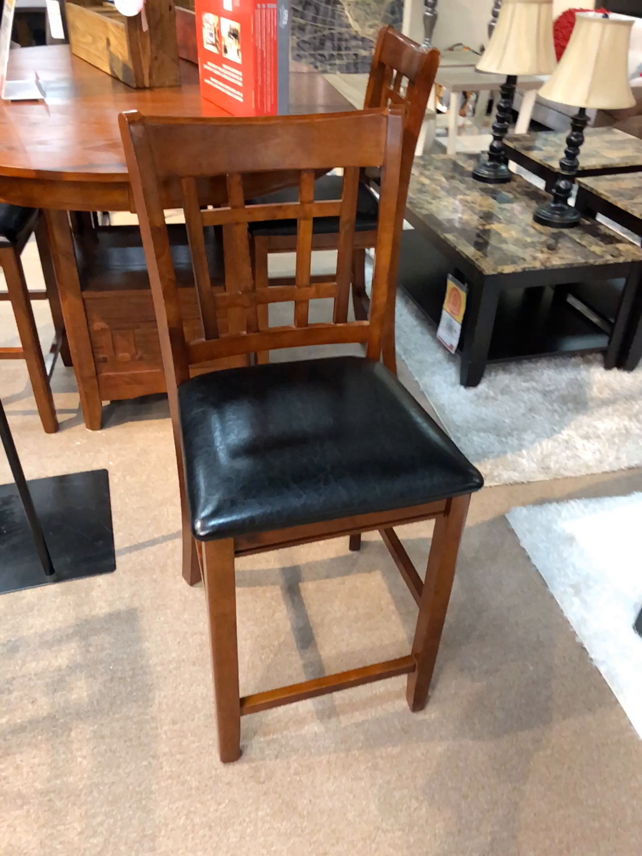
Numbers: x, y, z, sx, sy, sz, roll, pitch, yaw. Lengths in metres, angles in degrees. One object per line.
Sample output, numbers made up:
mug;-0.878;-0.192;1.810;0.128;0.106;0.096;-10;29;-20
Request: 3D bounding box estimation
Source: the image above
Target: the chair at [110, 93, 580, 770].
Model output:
chair;-0.035;0.013;1.188;0.470;0.963;0.524;-8;37;-15
